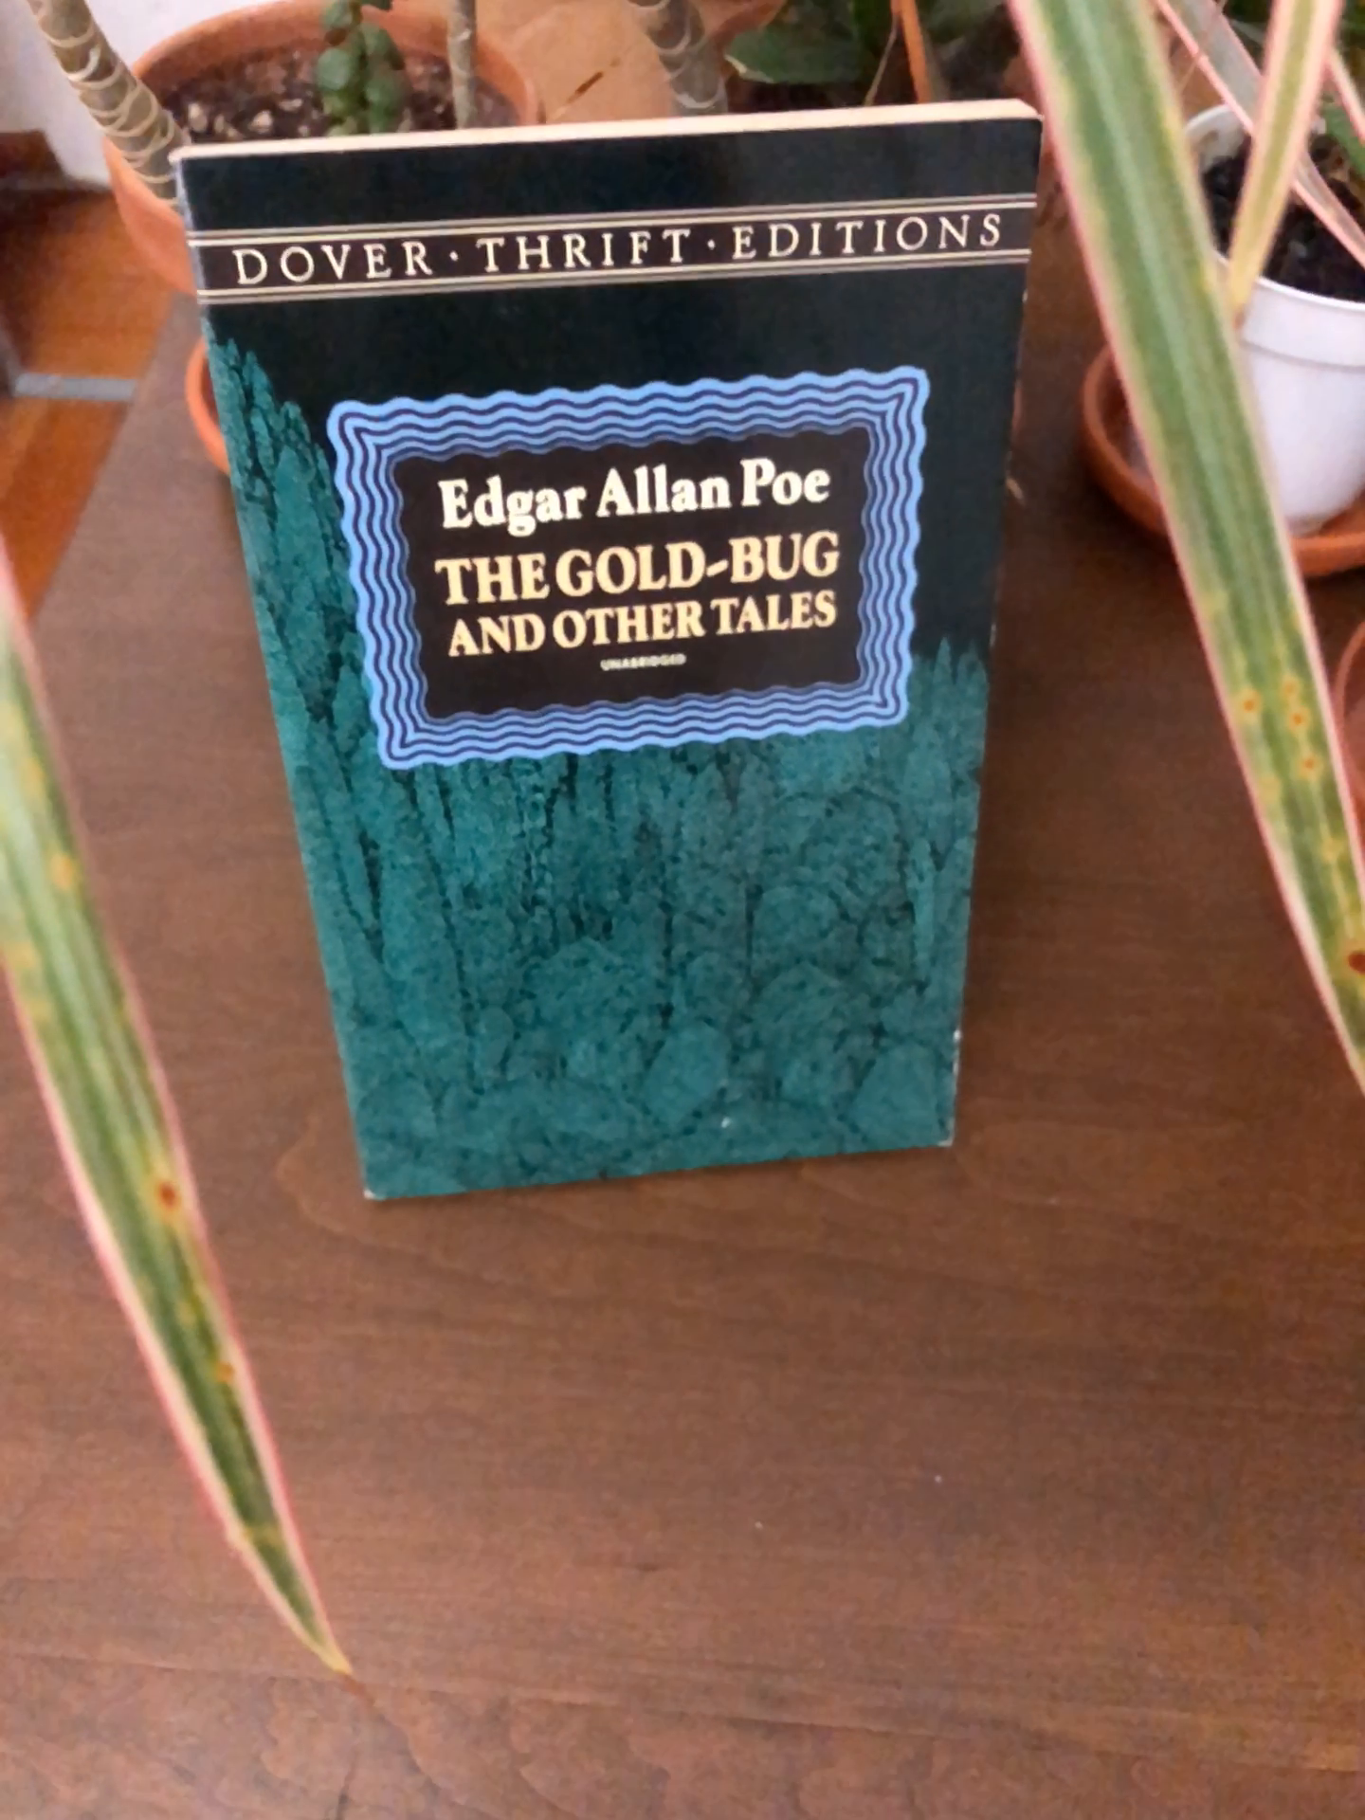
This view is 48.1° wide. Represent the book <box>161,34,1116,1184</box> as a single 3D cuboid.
[{"bbox_3d":[-0.003,-0.041,0.287,0.140,0.209,0.020,-5,32,-5],"label":"book"}]
